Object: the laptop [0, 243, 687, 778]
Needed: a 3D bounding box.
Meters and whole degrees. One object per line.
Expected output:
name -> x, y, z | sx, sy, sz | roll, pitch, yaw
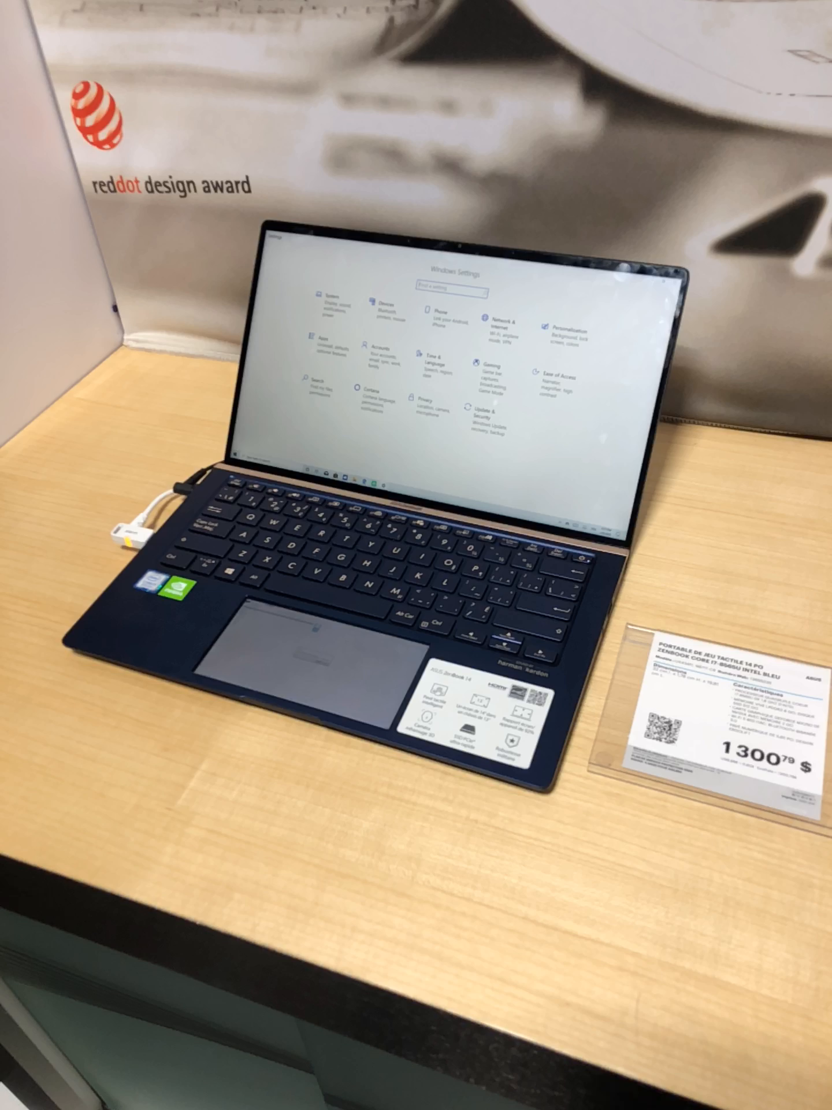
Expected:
laptop -> -0.027, -0.063, 0.621 | 0.333, 0.159, 0.322 | 12, 42, 19
